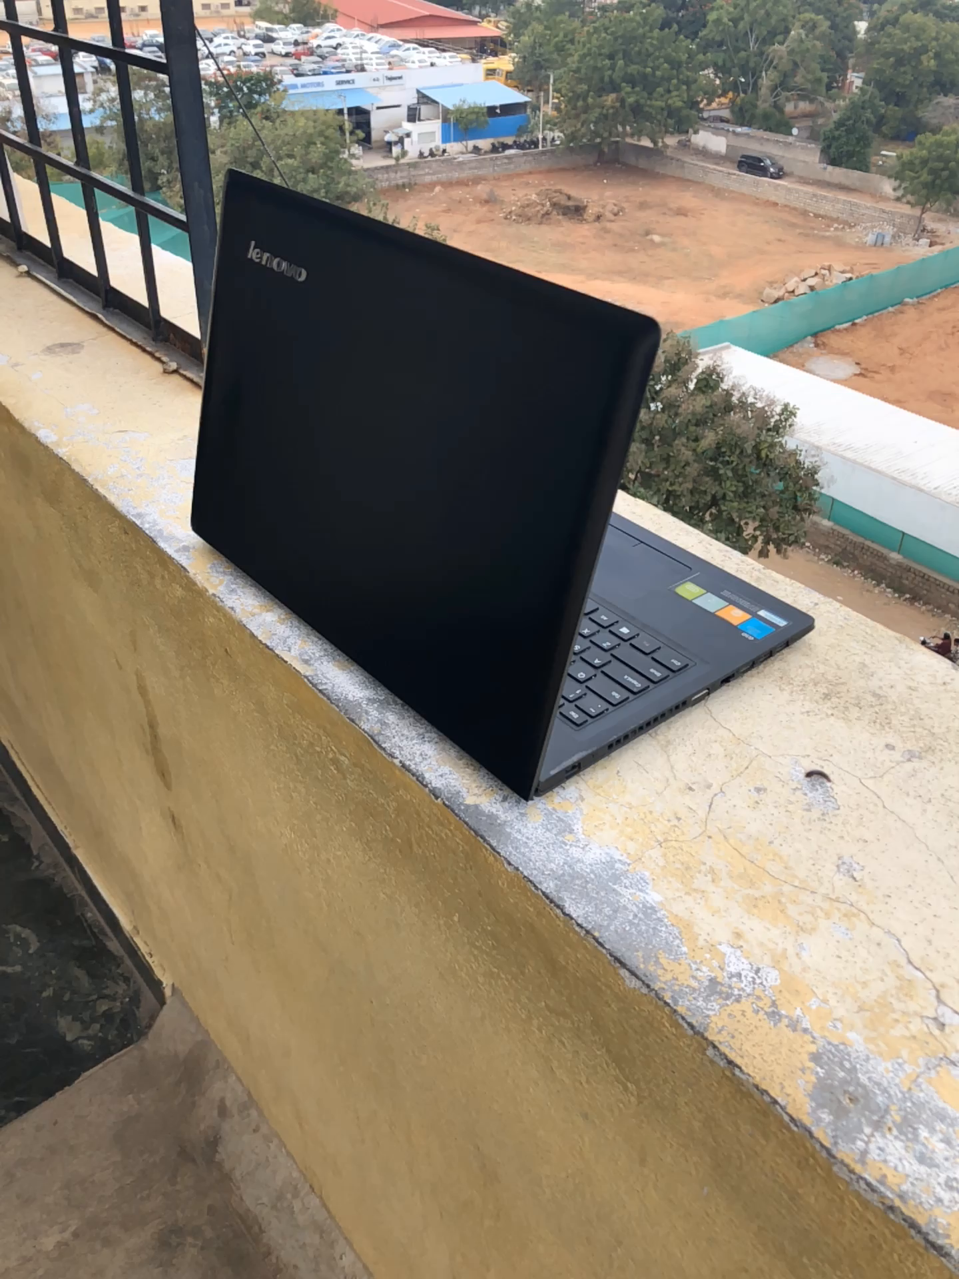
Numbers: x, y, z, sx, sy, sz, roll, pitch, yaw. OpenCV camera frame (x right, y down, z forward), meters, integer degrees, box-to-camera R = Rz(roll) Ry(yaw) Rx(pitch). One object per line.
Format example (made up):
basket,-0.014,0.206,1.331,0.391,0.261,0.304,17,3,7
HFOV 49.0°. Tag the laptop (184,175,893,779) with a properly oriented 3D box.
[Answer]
laptop,0.016,-0.133,0.661,0.245,0.223,0.335,-23,41,-31
